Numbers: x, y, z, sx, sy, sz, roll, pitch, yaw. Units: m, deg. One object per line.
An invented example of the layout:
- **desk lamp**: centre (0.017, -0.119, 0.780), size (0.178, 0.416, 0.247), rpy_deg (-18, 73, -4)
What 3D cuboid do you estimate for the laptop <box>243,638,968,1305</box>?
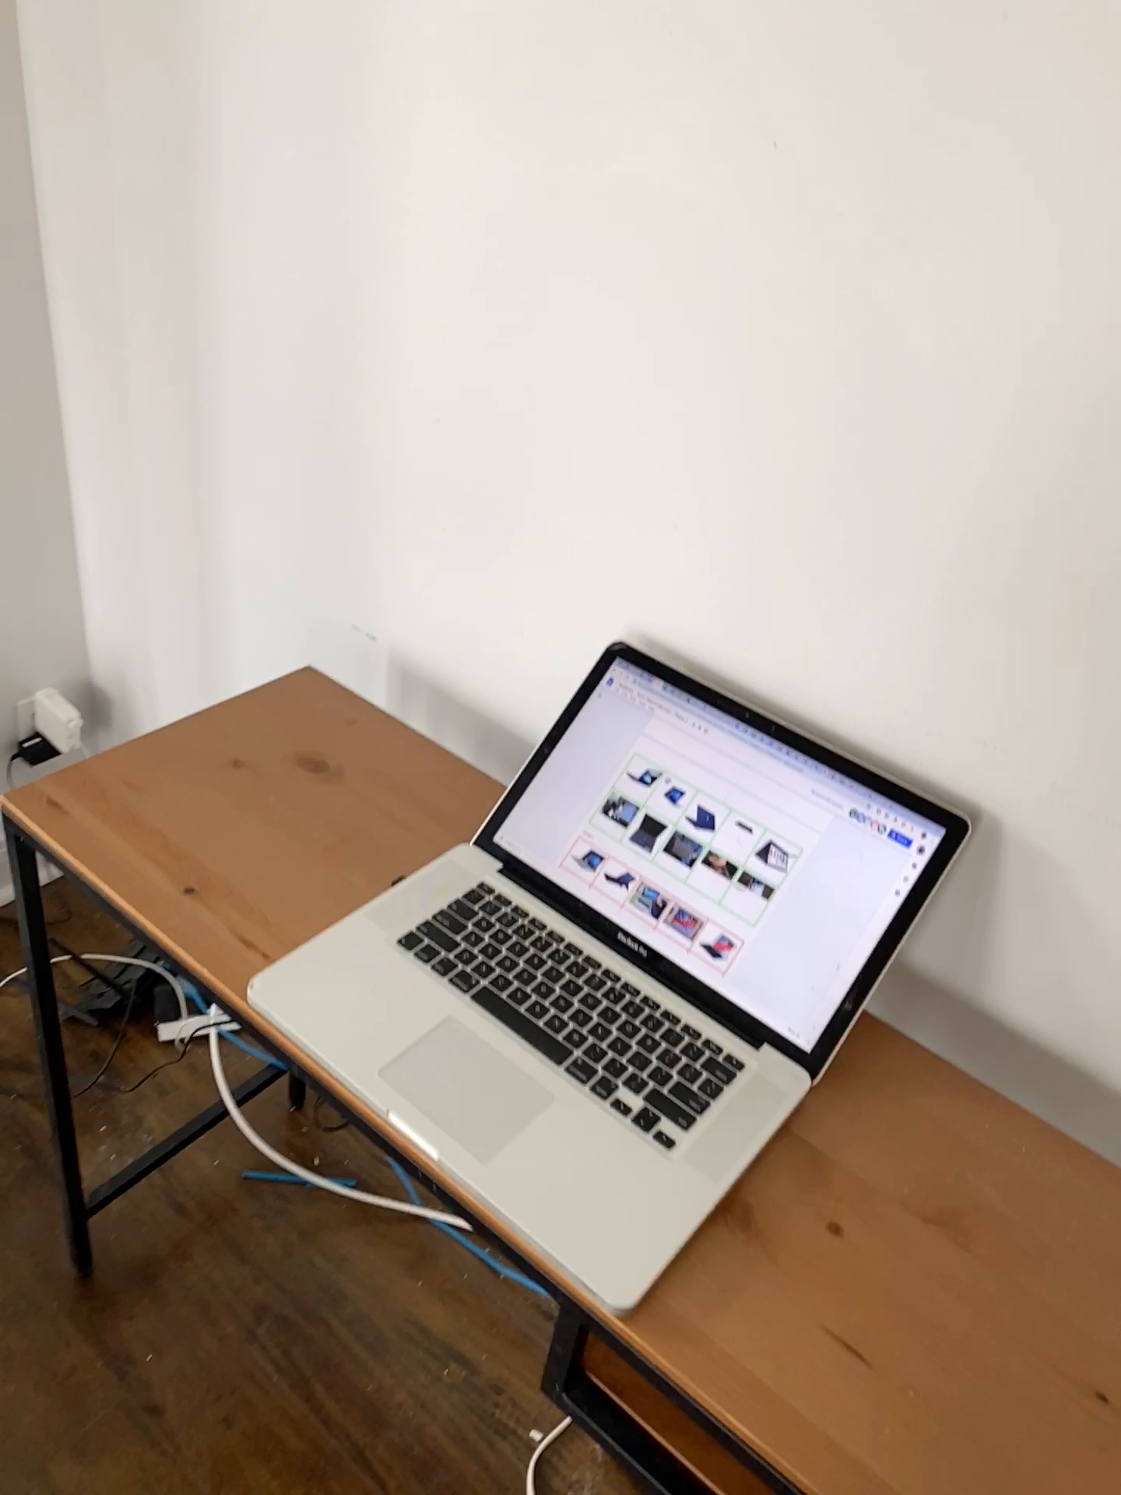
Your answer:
- **laptop**: centre (0.046, 0.123, 0.911), size (0.368, 0.151, 0.440), rpy_deg (31, 40, 27)
